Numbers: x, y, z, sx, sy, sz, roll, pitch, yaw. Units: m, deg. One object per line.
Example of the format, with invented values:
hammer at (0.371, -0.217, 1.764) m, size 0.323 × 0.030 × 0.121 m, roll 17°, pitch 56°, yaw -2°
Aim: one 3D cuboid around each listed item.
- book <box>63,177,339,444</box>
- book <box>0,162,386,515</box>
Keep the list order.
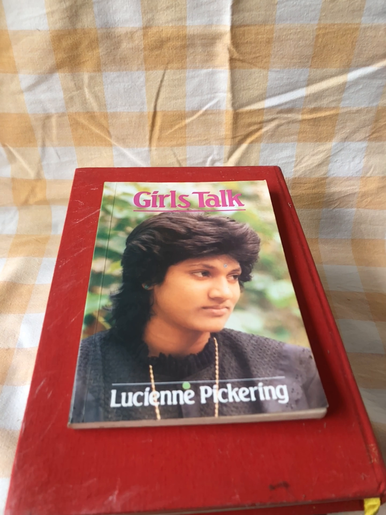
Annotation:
book at (0.000, 0.016, 0.272) m, size 0.130 × 0.025 × 0.183 m, roll -1°, pitch 48°, yaw -3°
book at (-0.002, 0.024, 0.276) m, size 0.174 × 0.031 × 0.250 m, roll -2°, pitch 47°, yaw -4°
